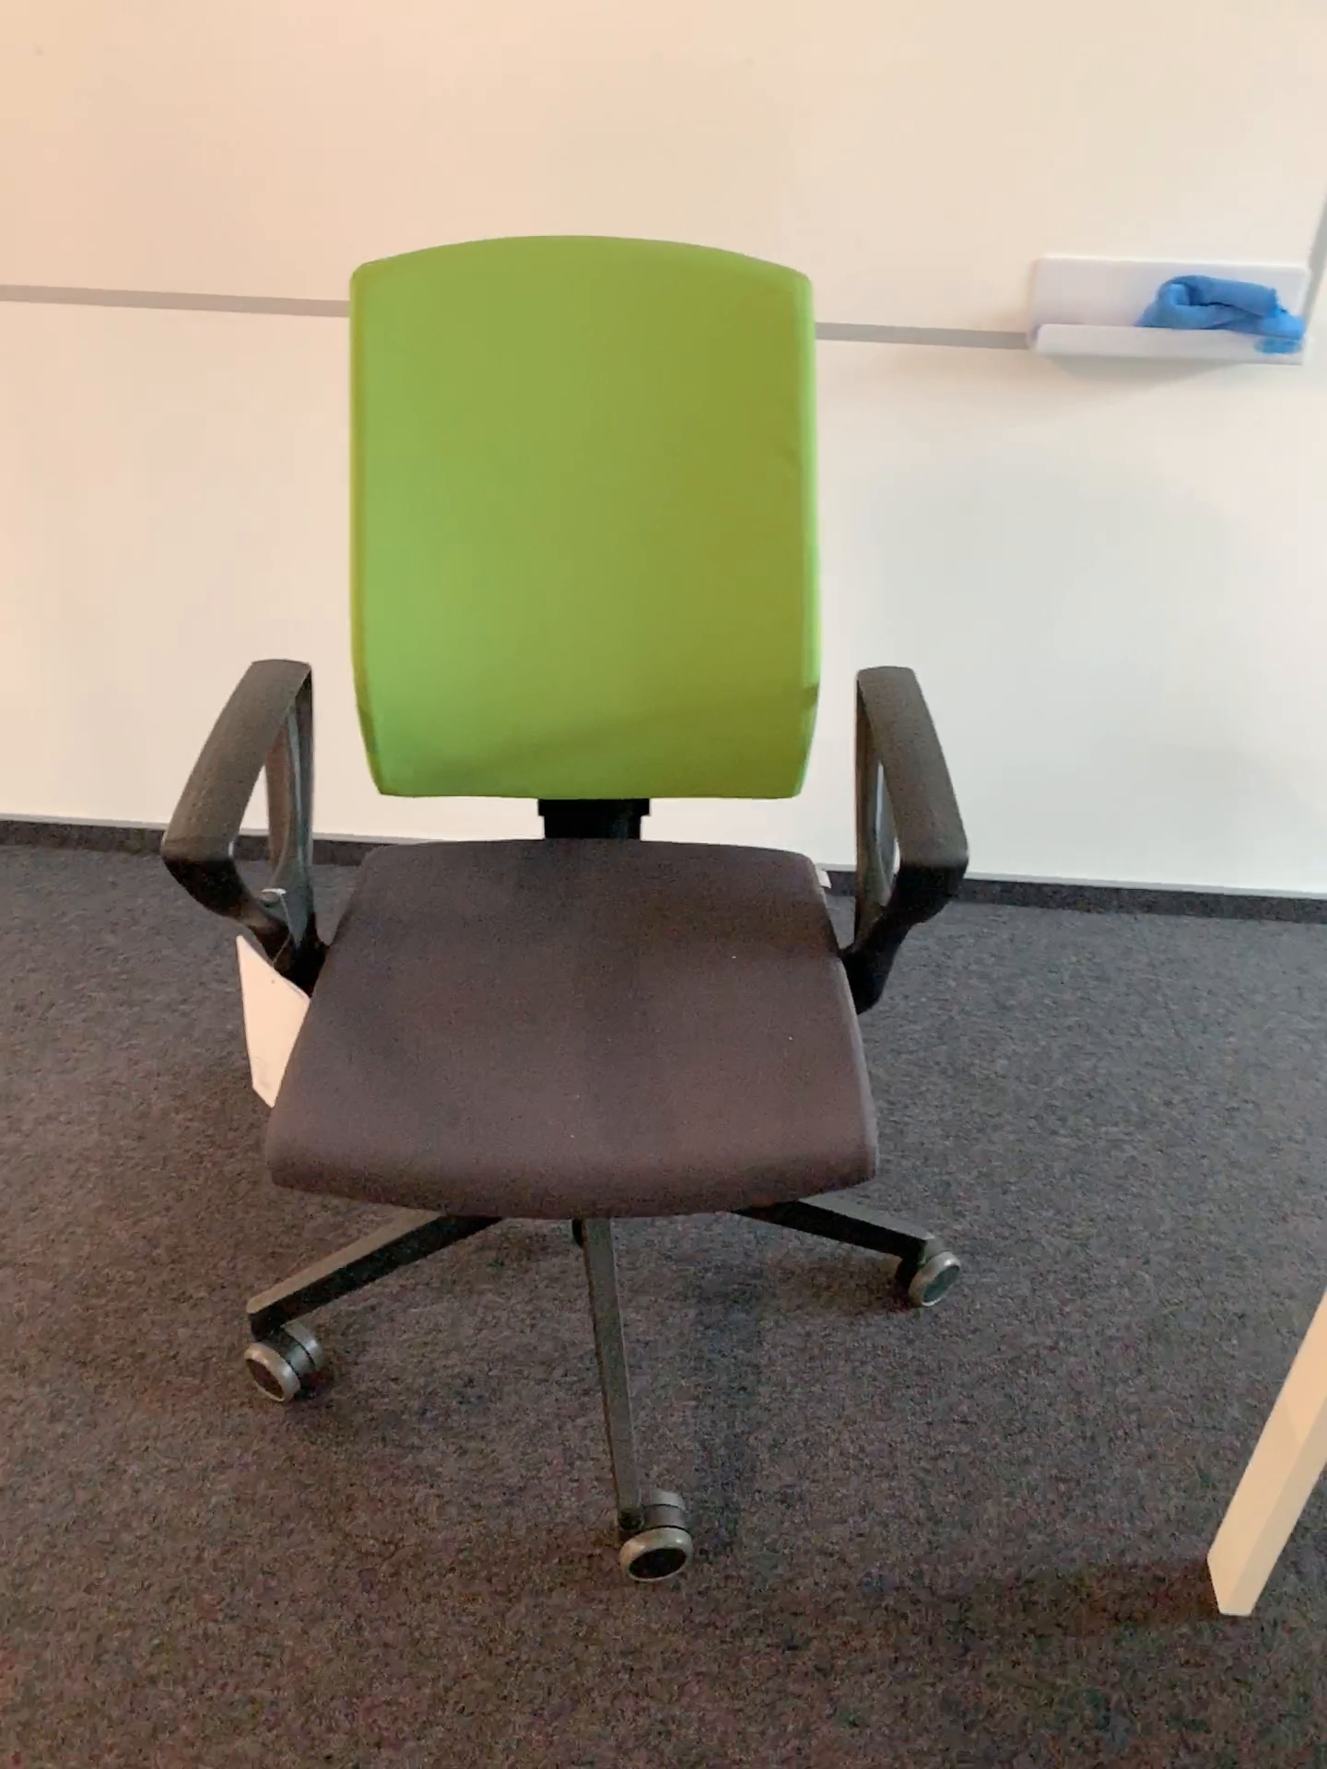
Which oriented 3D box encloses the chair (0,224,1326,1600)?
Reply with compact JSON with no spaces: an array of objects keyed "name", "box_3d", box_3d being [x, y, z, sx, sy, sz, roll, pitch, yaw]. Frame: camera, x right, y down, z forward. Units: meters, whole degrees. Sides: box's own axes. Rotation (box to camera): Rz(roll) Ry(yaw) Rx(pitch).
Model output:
[{"name":"chair","box_3d":[-0.046,0.017,1.211,0.760,0.965,0.734,0,36,-3]}]
